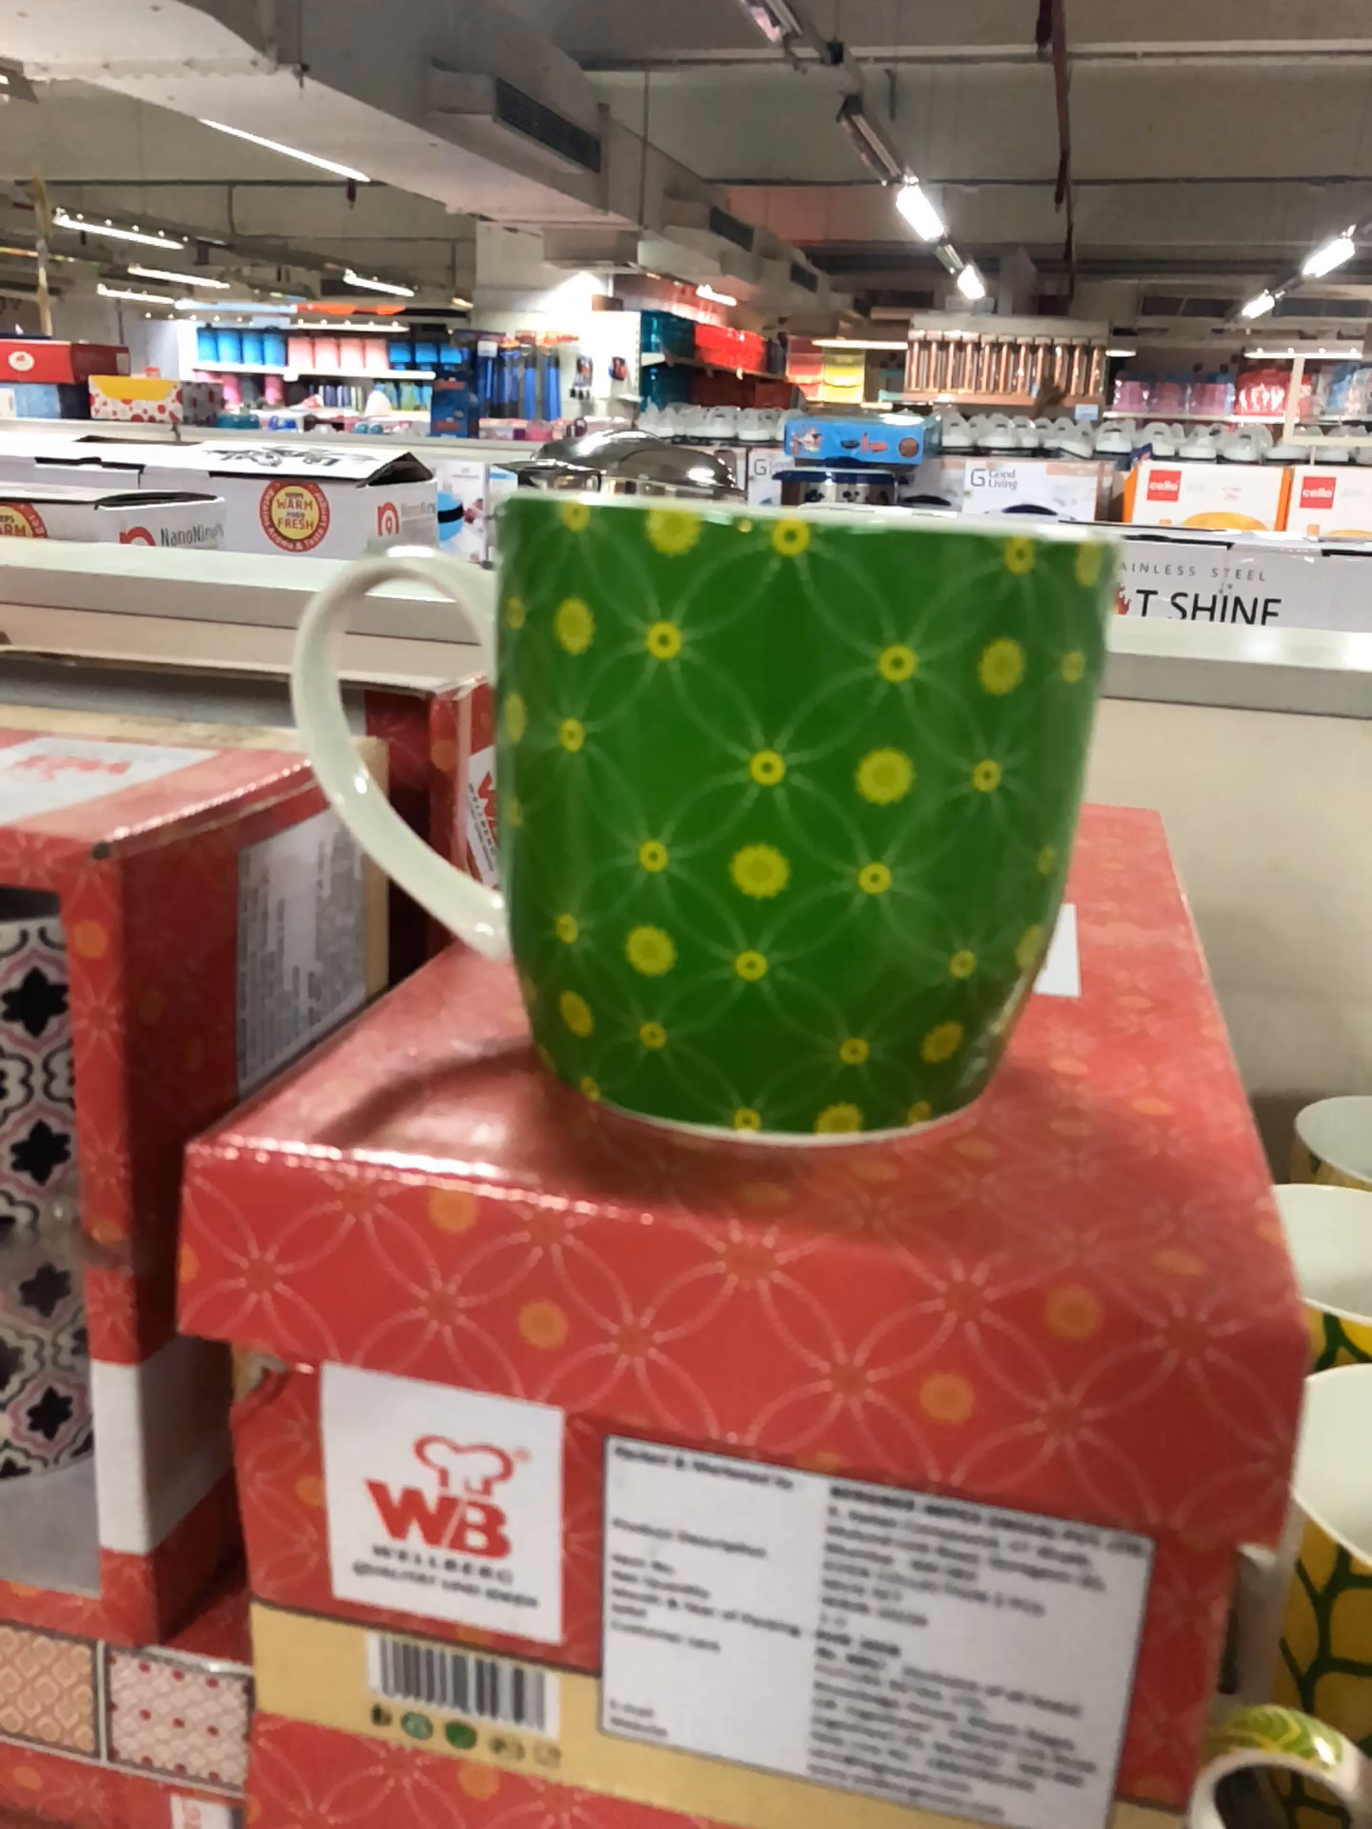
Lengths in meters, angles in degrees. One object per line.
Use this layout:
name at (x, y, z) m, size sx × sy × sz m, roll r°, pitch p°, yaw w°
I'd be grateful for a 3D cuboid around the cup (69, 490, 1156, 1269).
cup at (-0.004, -0.016, 0.214) m, size 0.120 × 0.080 × 0.090 m, roll 5°, pitch 17°, yaw 12°
